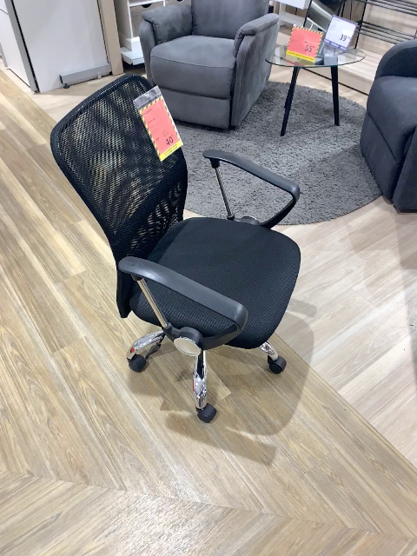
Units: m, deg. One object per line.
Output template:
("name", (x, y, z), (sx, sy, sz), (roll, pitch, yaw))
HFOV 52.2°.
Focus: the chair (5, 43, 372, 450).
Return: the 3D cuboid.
("chair", (0.009, -0.084, 1.255), (0.601, 0.866, 0.643), (17, 48, 16))
